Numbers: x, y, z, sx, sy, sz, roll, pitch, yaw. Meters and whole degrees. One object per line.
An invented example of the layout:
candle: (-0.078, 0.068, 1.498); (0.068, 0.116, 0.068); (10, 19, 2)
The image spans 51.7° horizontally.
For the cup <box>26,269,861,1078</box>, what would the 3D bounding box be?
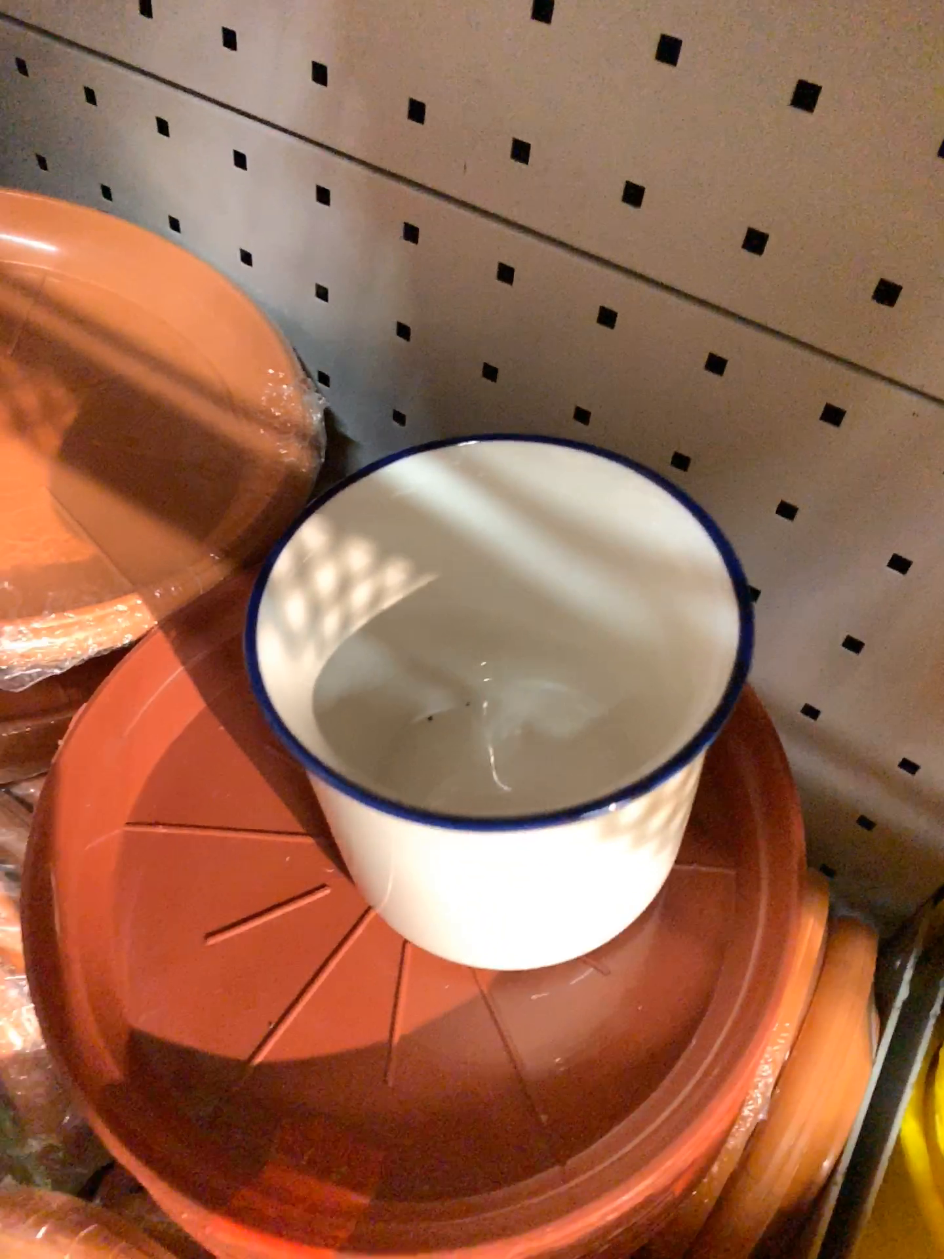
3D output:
cup: (-0.007, 0.007, 0.209); (0.090, 0.090, 0.120); (-40, 63, -21)
